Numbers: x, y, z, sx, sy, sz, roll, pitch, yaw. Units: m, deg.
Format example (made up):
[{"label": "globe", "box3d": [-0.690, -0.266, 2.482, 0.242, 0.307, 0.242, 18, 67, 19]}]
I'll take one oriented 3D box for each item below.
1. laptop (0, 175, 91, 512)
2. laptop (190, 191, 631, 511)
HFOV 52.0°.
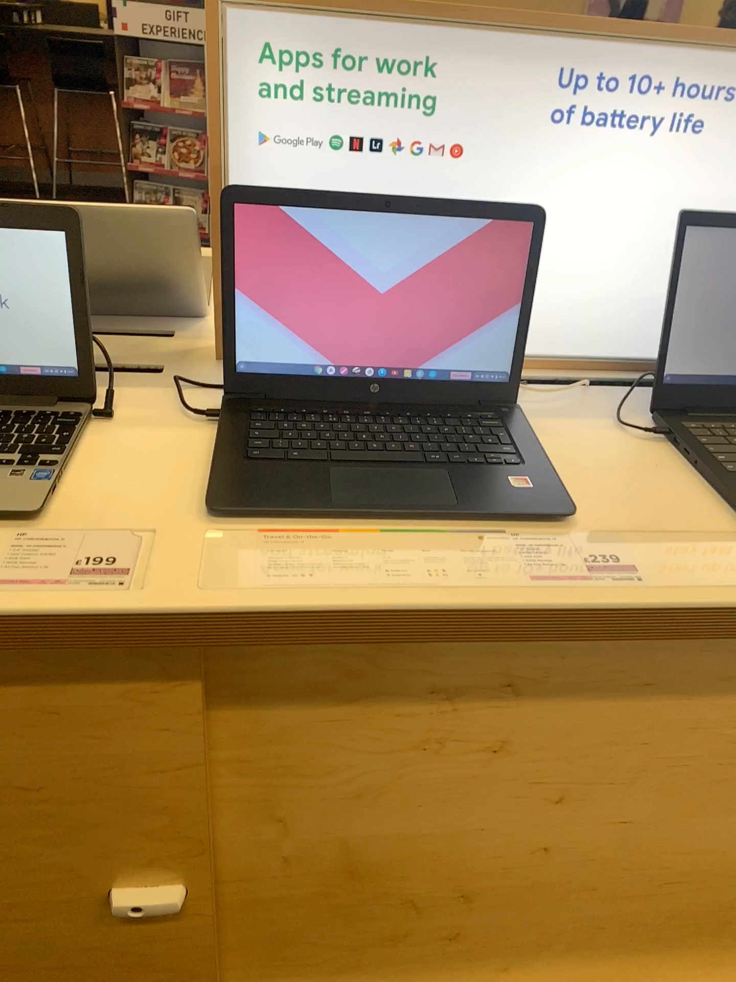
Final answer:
[{"label": "laptop", "box3d": [-0.411, -0.134, 0.649, 0.270, 0.186, 0.243, 1, 33, -9]}, {"label": "laptop", "box3d": [0.020, -0.139, 0.716, 0.331, 0.209, 0.246, 1, 32, -6]}]
